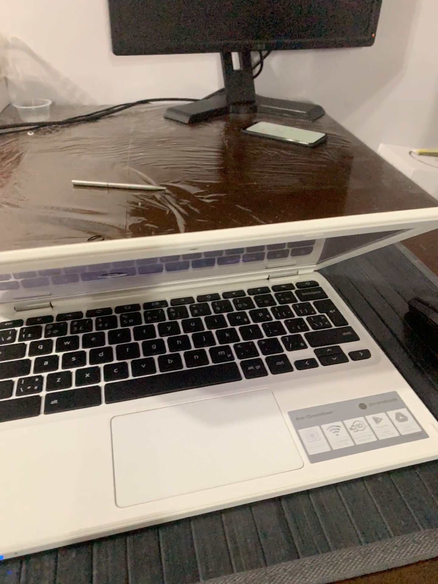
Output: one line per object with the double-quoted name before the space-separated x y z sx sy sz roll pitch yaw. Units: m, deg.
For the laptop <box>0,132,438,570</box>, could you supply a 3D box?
"laptop" -0.023 0.003 0.267 0.280 0.124 0.182 -8 36 -12
